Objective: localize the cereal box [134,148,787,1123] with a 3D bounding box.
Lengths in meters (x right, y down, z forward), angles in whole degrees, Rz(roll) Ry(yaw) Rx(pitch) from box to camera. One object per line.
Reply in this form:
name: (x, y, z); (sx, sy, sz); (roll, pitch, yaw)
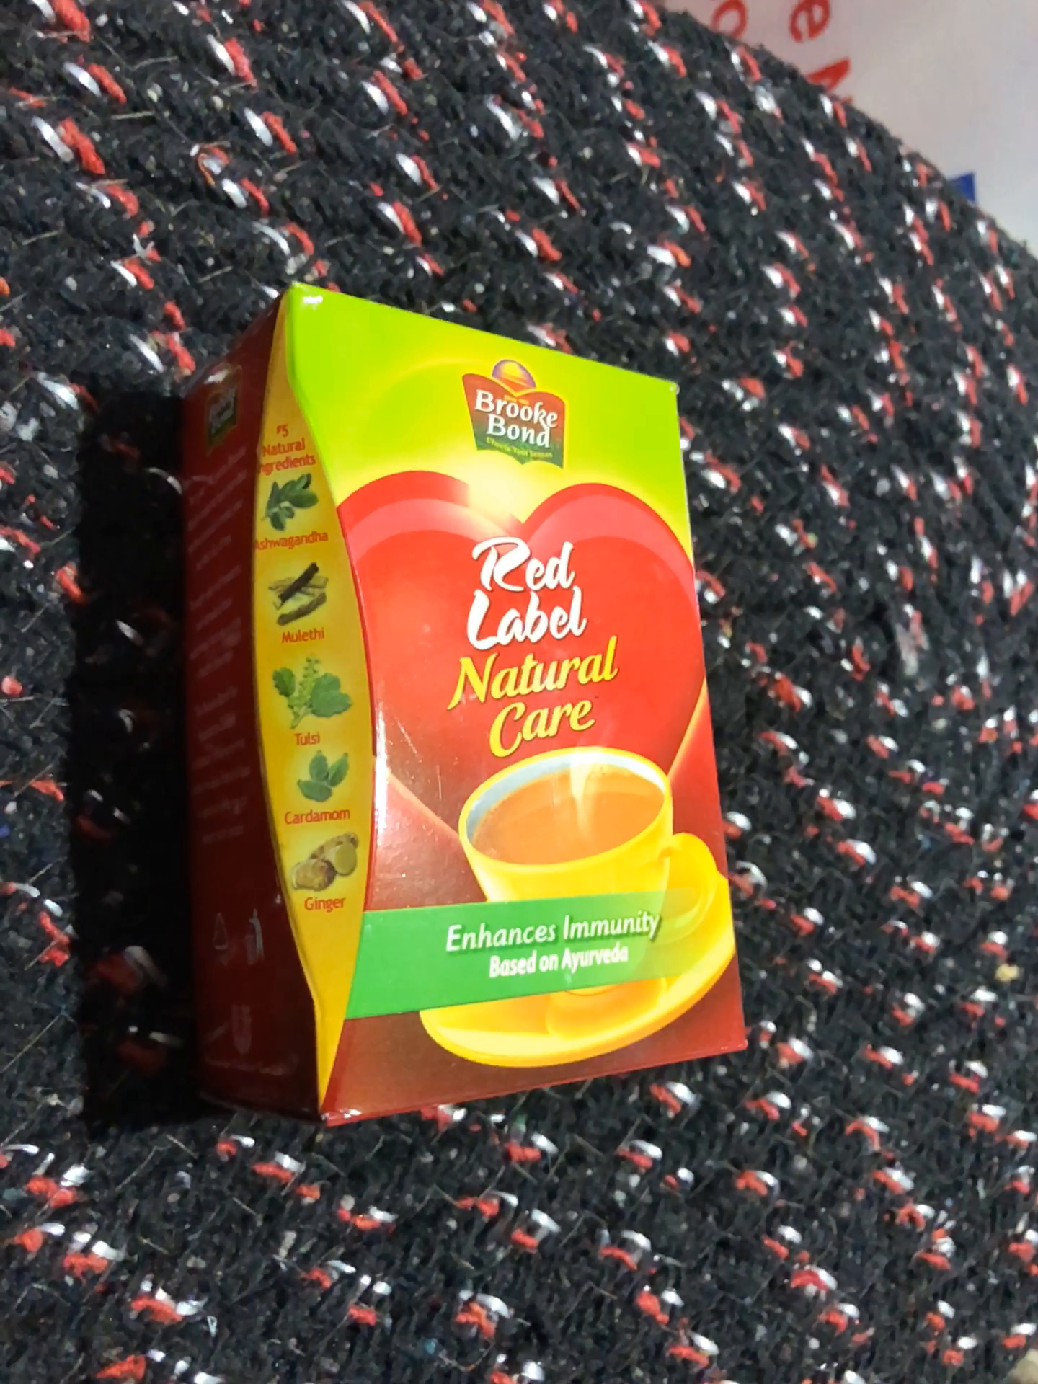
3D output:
cereal box: (-0.008, -0.005, 0.170); (0.080, 0.040, 0.110); (4, 78, -39)
